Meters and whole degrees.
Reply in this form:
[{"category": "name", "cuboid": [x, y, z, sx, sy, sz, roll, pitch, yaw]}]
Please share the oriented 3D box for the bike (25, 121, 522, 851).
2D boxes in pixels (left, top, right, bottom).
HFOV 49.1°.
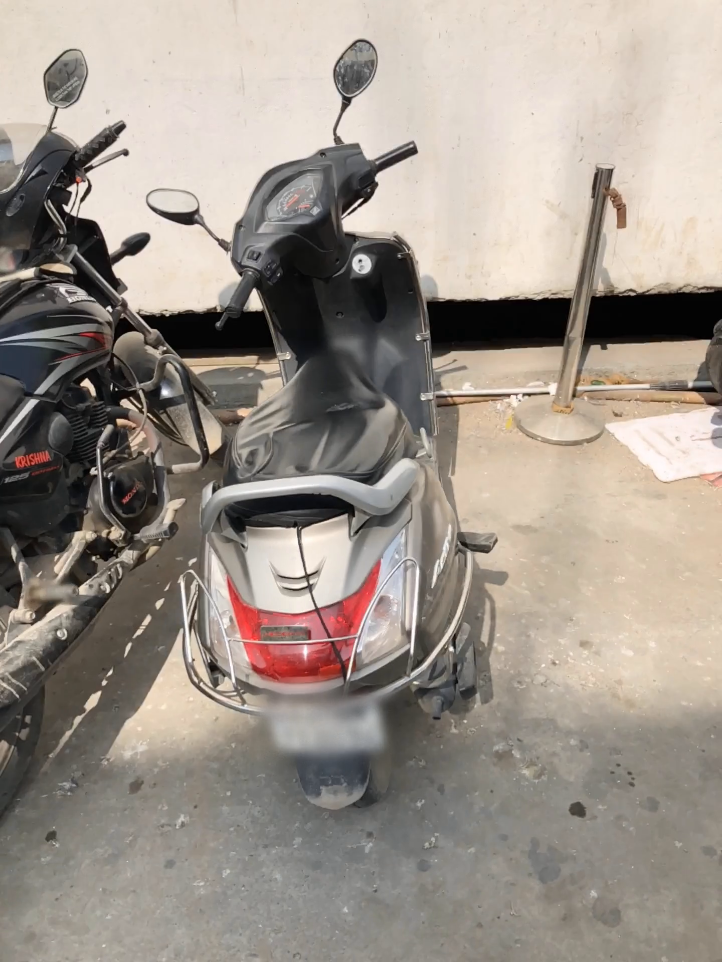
[{"category": "bike", "cuboid": [-0.057, -0.143, 1.912, 0.616, 1.107, 1.508, 2, 33, 3]}]
